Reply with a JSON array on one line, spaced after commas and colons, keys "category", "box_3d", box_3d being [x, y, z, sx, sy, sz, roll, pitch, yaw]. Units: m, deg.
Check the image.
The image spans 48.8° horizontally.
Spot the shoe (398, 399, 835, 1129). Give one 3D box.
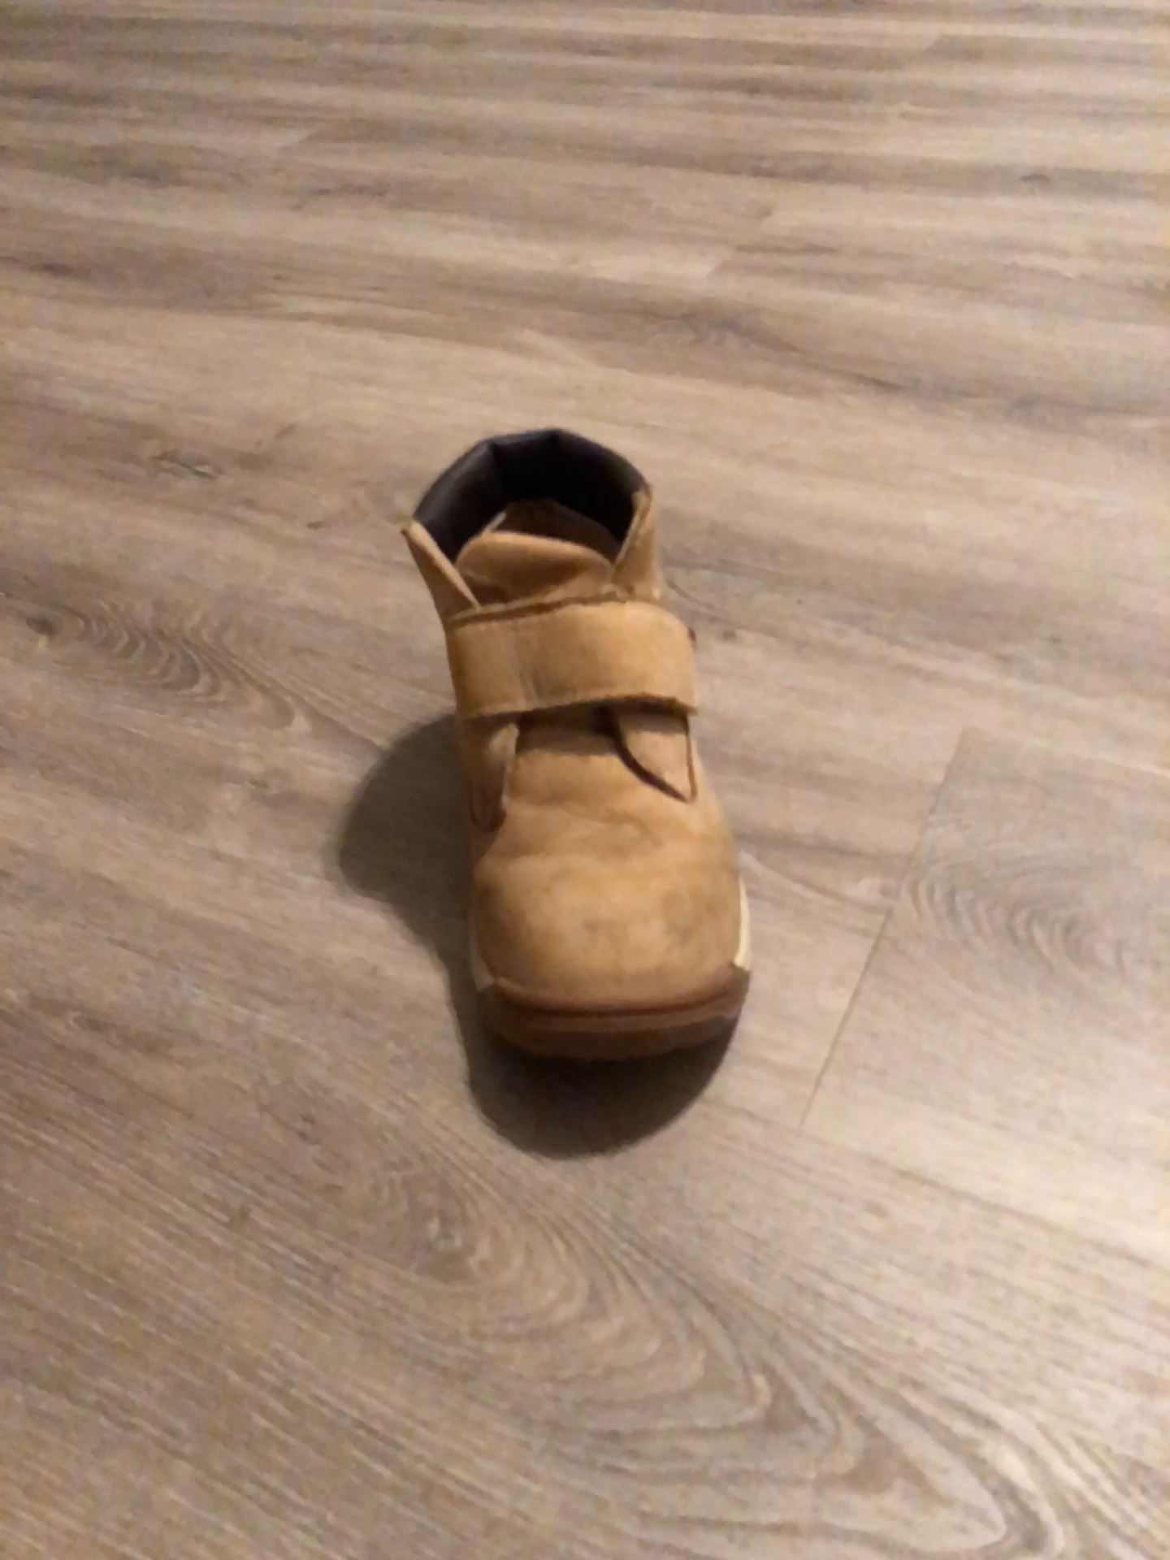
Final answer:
[{"category": "shoe", "box_3d": [0.001, -0.018, 0.373, 0.090, 0.100, 0.201, -6, 40, -1]}]
